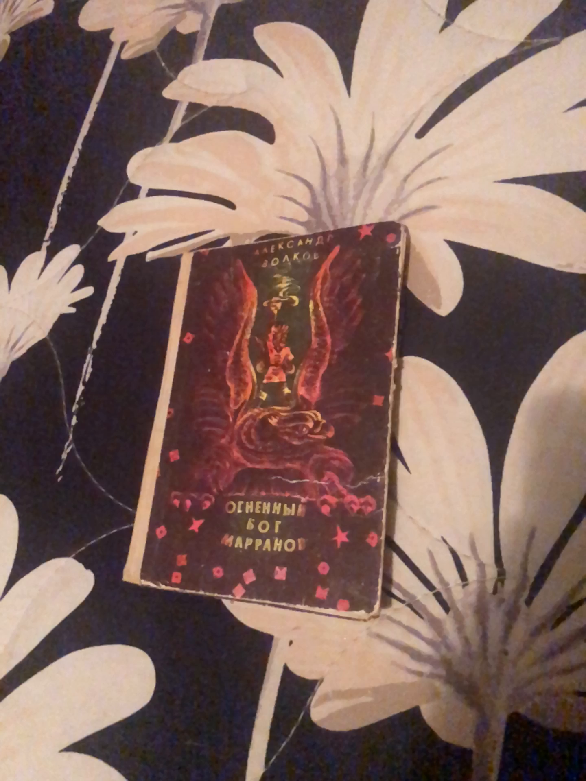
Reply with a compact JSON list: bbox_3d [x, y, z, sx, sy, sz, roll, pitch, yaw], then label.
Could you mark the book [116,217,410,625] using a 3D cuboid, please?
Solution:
[{"bbox_3d":[-0.017,0.011,0.369,0.152,0.019,0.211,-1,74,25],"label":"book"}]
